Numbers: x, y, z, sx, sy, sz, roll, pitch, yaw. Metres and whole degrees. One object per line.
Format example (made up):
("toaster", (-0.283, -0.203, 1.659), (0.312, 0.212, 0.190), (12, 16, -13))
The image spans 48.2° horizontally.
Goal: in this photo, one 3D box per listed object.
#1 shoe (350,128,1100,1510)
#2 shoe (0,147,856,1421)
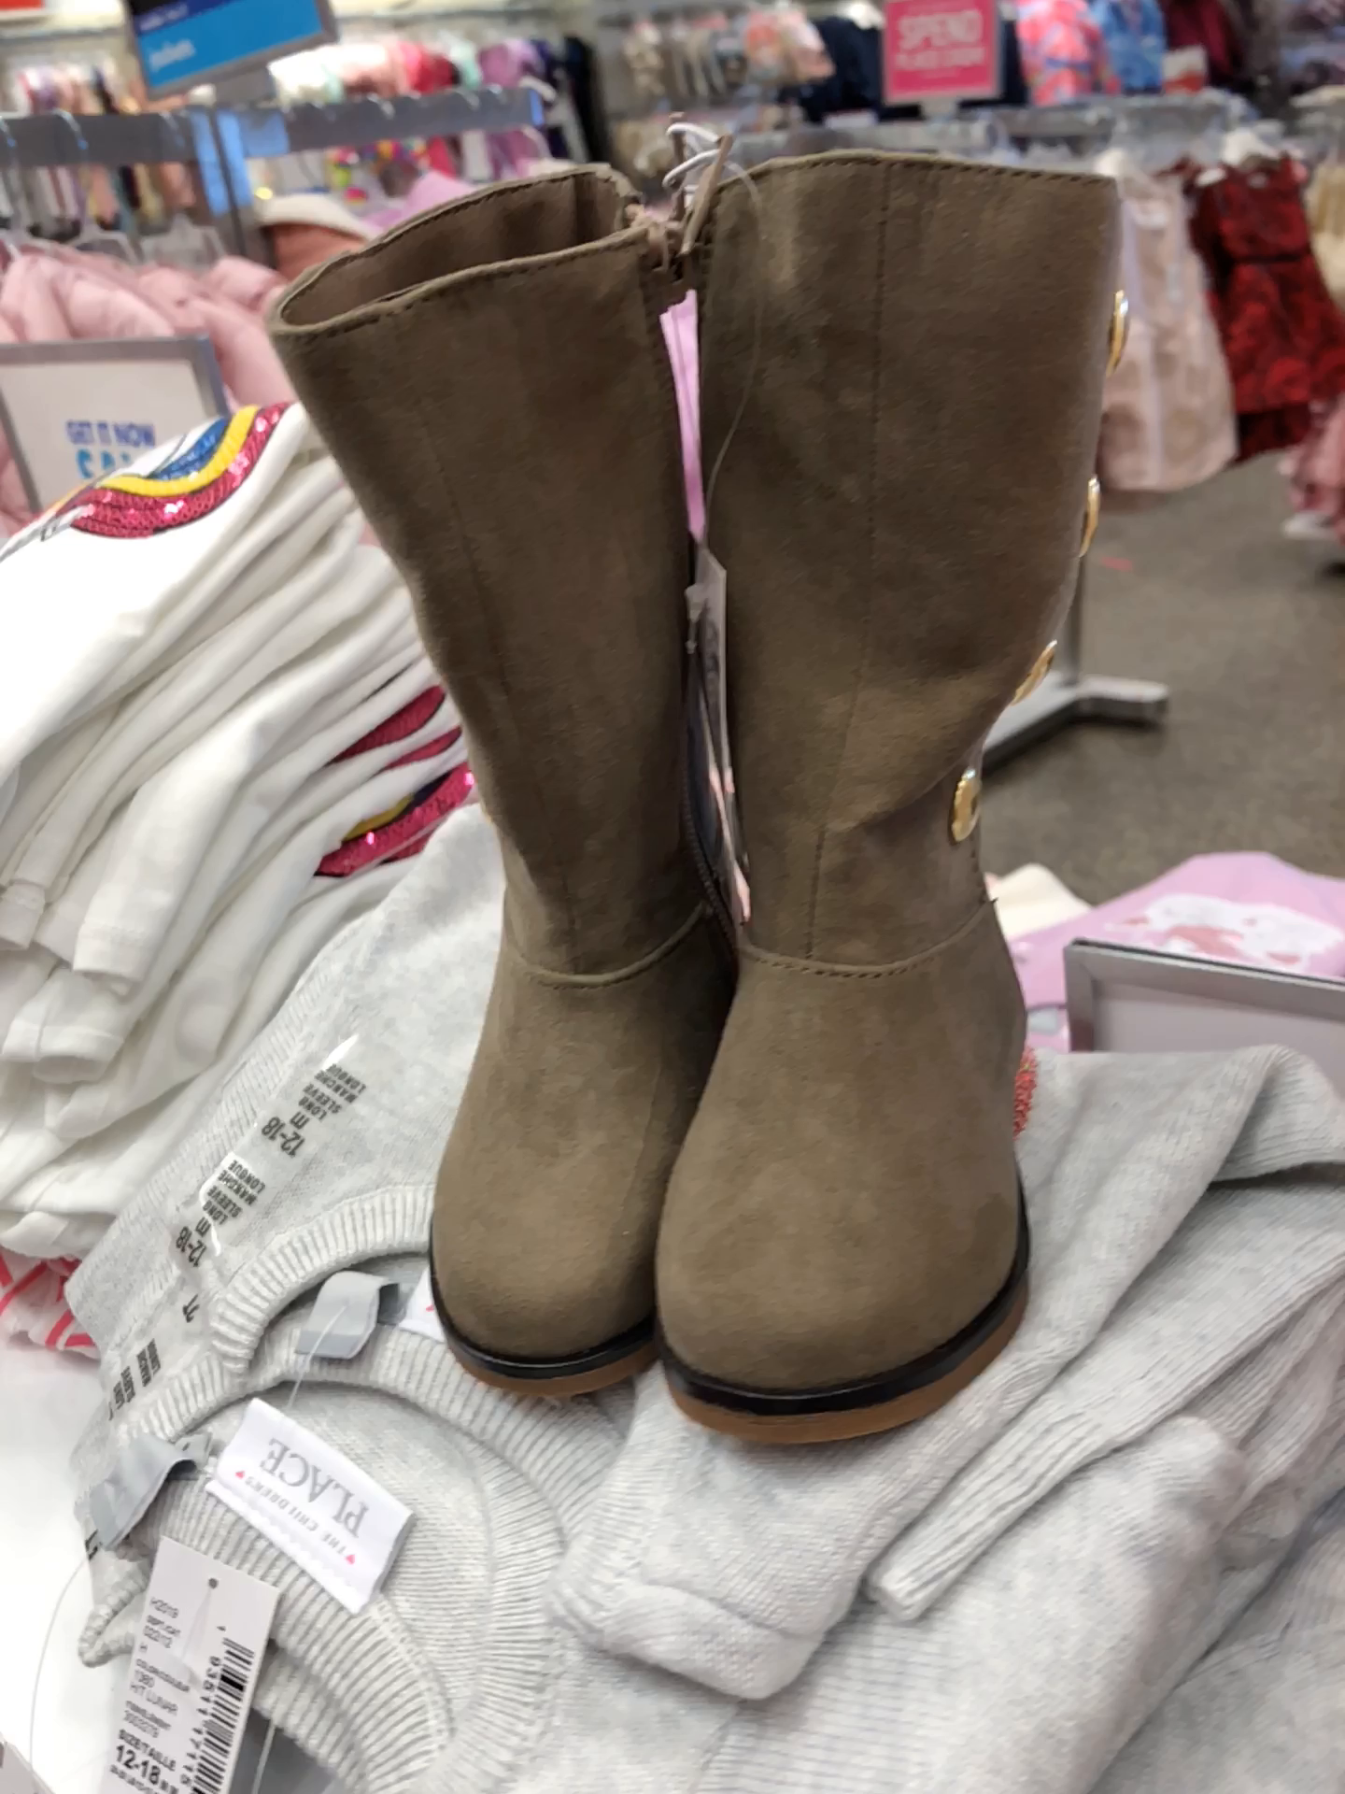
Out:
("shoe", (0.031, -0.025, 0.260), (0.070, 0.184, 0.148), (1, 26, 20))
("shoe", (-0.026, -0.026, 0.275), (0.070, 0.164, 0.155), (1, 37, 20))
